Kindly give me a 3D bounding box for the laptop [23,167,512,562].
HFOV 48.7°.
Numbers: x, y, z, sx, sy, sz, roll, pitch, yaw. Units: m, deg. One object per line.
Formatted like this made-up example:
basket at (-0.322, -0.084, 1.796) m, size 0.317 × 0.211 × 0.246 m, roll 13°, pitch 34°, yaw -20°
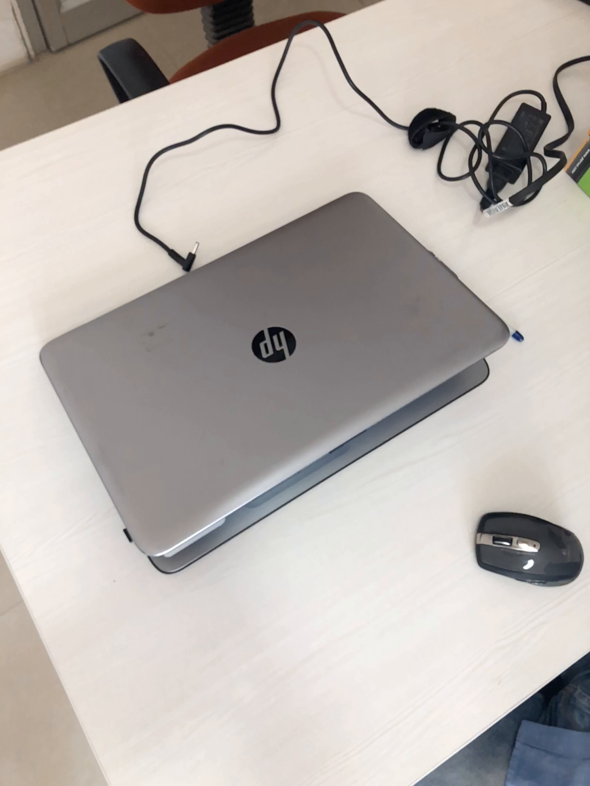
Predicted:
laptop at (-0.021, -0.039, 0.600) m, size 0.356 × 0.062 × 0.226 m, roll -30°, pitch 75°, yaw -14°
